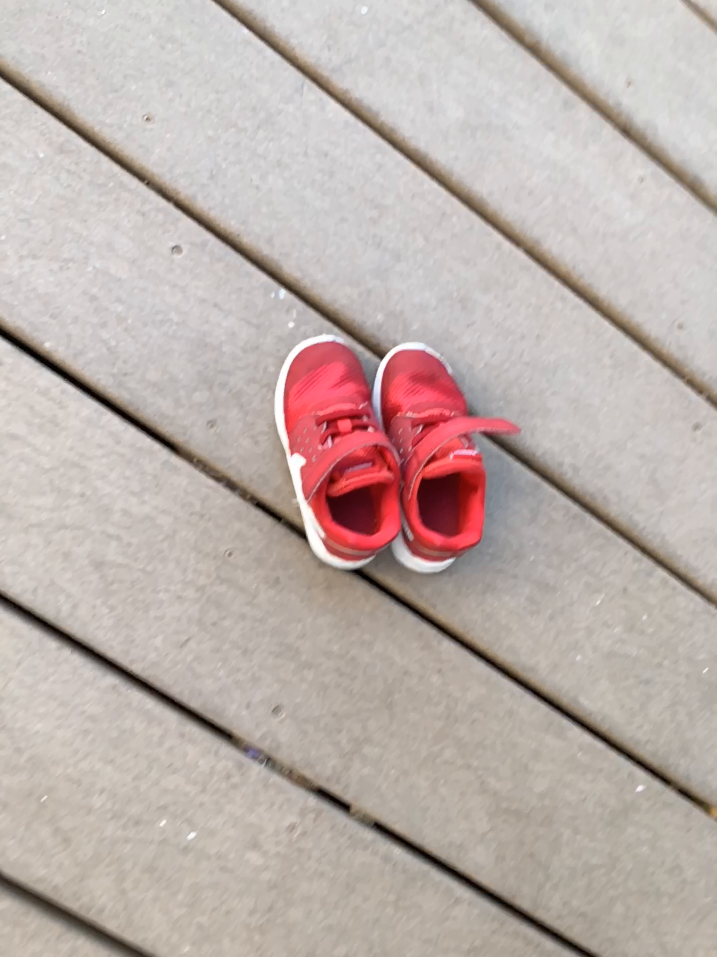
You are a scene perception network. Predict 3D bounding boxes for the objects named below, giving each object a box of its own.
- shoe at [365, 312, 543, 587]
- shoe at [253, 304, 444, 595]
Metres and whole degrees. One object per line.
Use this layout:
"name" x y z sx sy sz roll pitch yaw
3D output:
"shoe" 0.060 -0.017 0.532 0.077 0.087 0.167 -3 86 -16
"shoe" -0.011 -0.016 0.519 0.077 0.087 0.167 -9 88 -17
